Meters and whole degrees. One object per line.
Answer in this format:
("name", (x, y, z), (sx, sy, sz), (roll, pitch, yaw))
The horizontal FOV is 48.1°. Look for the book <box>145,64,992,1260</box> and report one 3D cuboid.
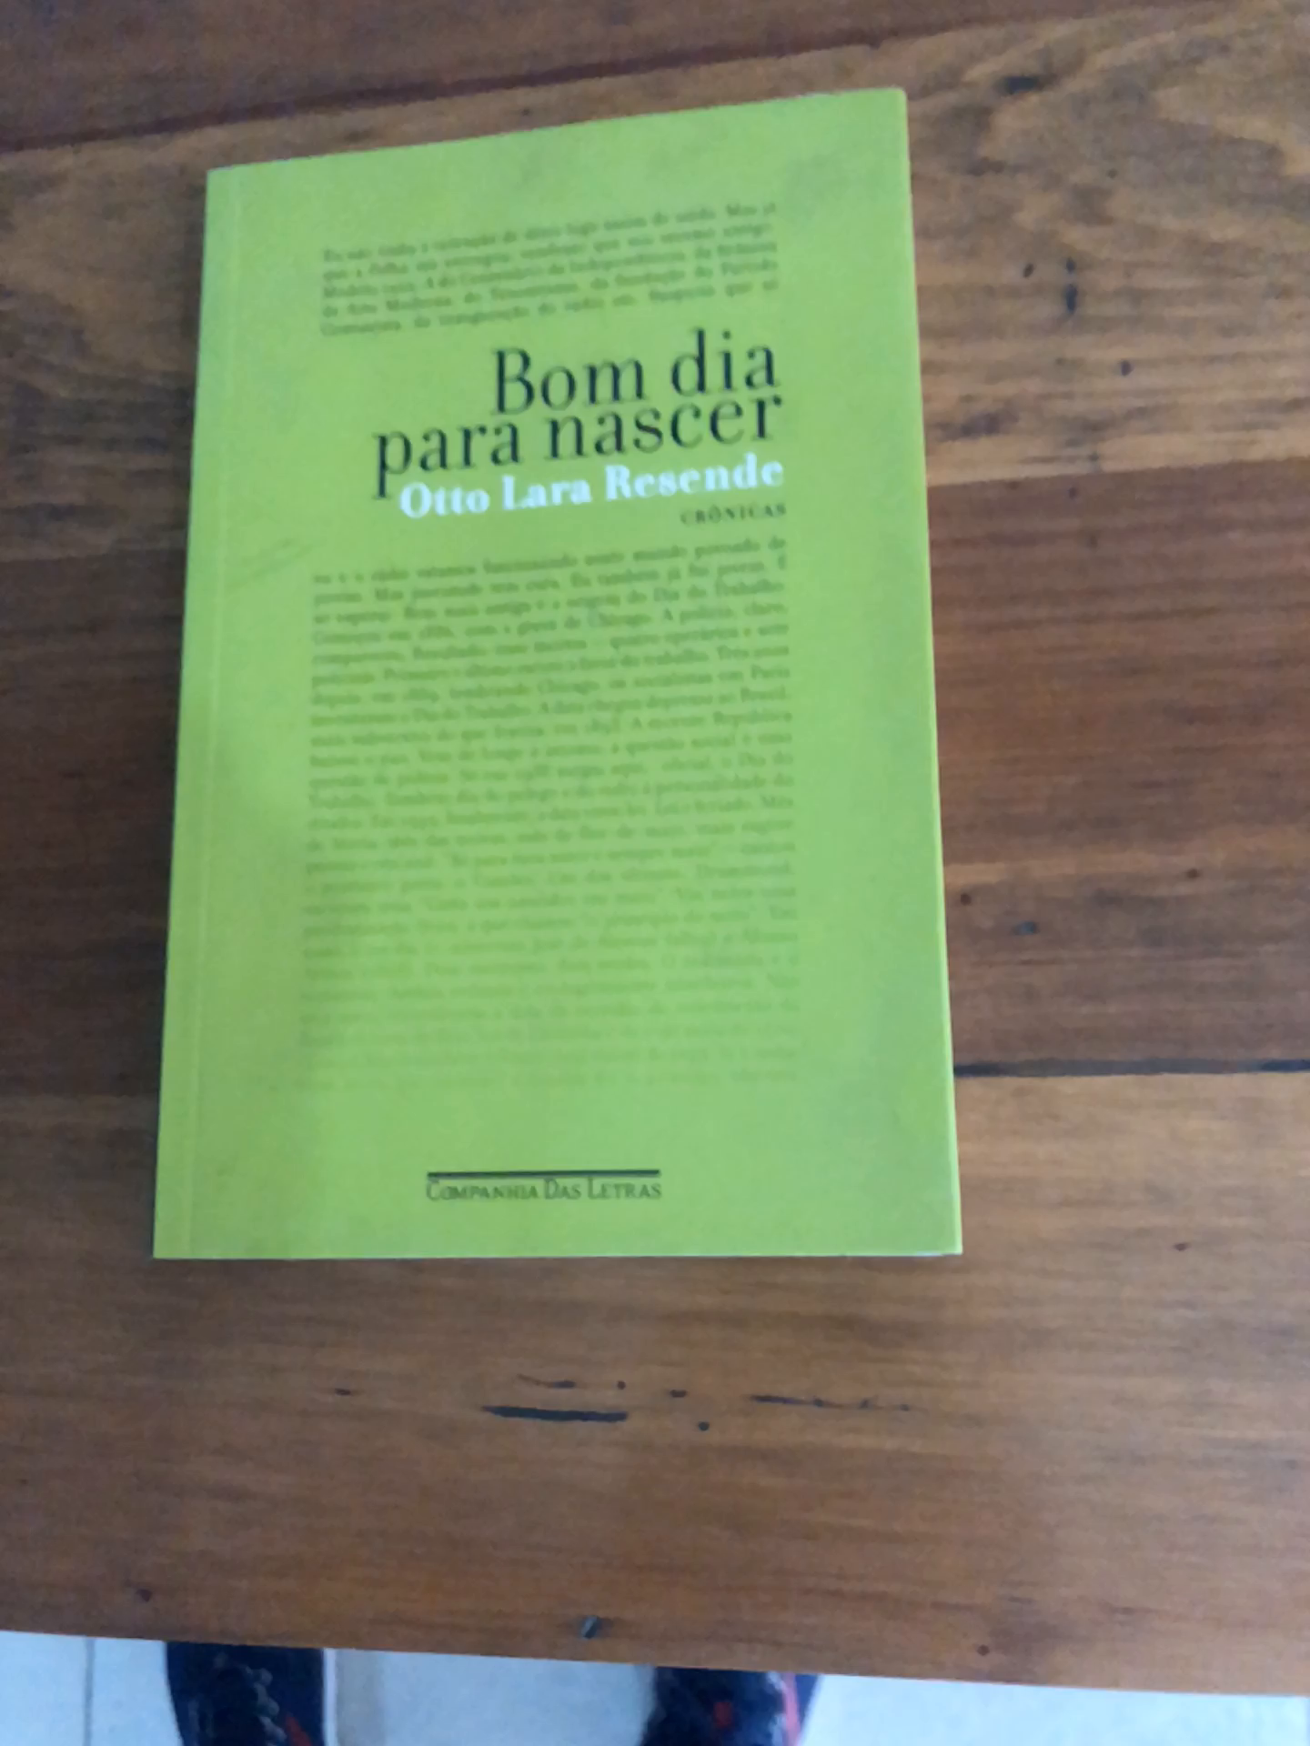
("book", (-0.015, -0.038, 0.267), (0.136, 0.030, 0.209), (-2, 78, 8))
